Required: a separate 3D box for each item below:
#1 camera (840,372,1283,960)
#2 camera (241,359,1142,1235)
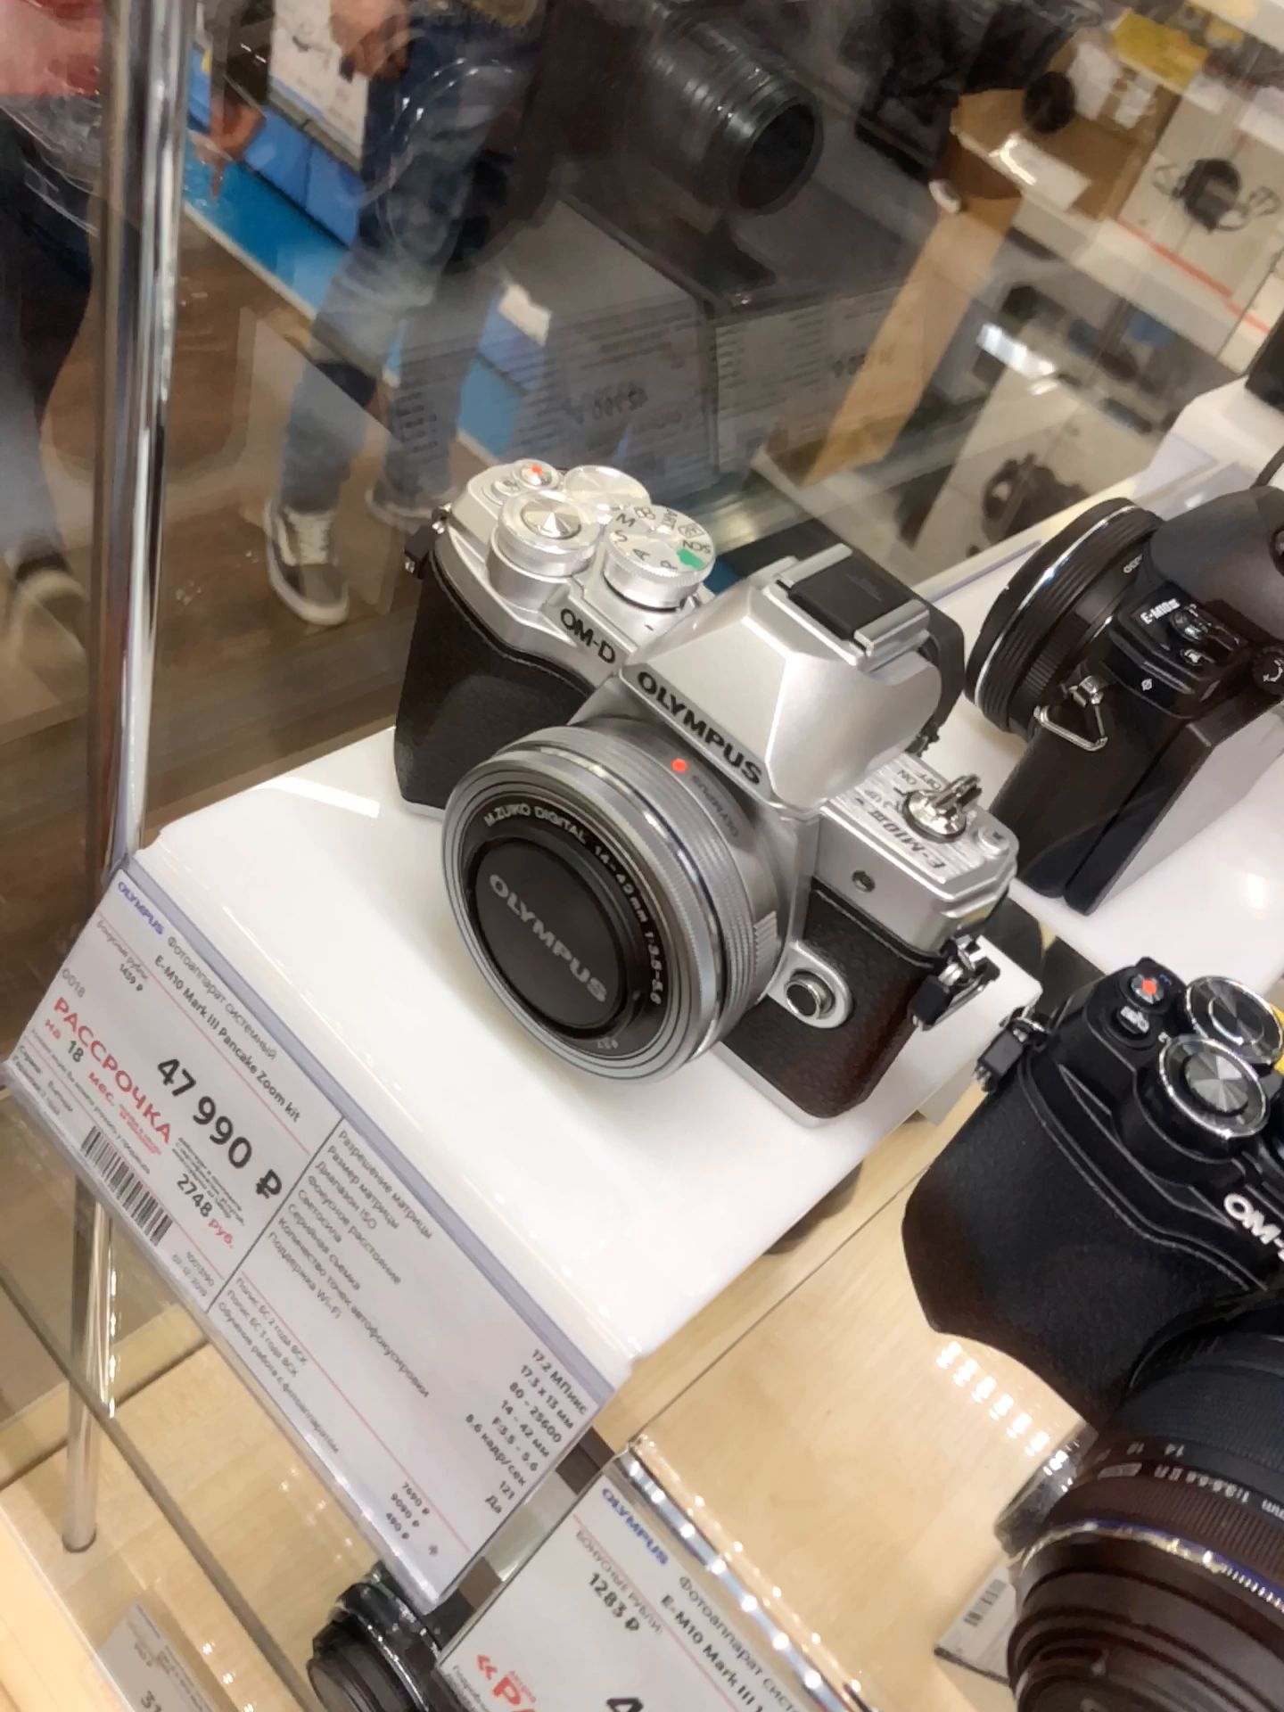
[{"bbox_3d":[0.117,-0.047,0.314,0.078,0.068,0.109,44,47,21],"label":"camera"},{"bbox_3d":[0.002,-0.017,0.243,0.122,0.067,0.073,42,47,19],"label":"camera"}]
